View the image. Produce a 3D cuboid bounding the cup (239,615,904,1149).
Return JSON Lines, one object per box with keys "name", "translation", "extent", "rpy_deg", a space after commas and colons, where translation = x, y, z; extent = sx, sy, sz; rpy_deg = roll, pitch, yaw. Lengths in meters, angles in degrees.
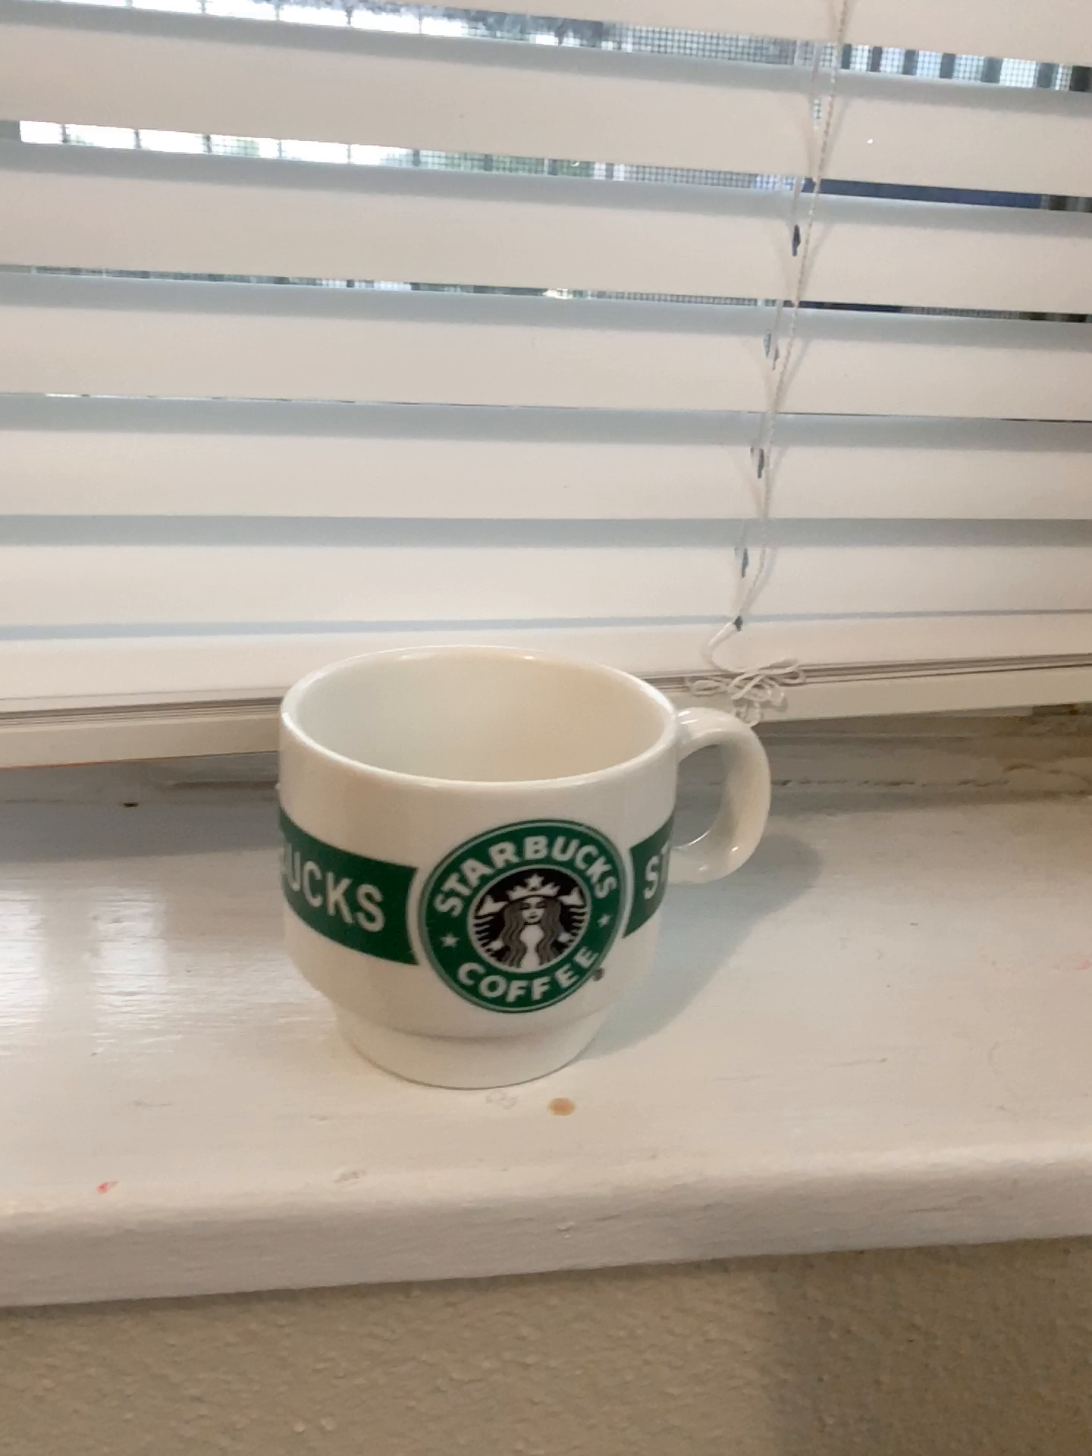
{"name": "cup", "translation": [0.001, 0.020, 0.217], "extent": [0.100, 0.060, 0.070], "rpy_deg": [-7, 23, -26]}
